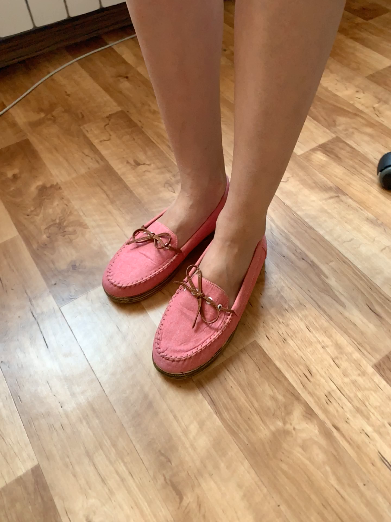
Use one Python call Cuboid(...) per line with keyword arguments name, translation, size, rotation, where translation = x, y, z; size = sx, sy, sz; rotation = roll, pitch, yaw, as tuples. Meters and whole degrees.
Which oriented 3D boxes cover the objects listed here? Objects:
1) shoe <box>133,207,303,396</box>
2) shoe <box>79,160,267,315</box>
Cuboid(name="shoe", translation=(0.038, 0.042, 0.535), size=(0.090, 0.060, 0.250), rotation=(30, 60, 22))
Cuboid(name="shoe", translation=(-0.026, -0.044, 0.594), size=(0.260, 0.060, 0.100), rotation=(-35, 60, -21))
